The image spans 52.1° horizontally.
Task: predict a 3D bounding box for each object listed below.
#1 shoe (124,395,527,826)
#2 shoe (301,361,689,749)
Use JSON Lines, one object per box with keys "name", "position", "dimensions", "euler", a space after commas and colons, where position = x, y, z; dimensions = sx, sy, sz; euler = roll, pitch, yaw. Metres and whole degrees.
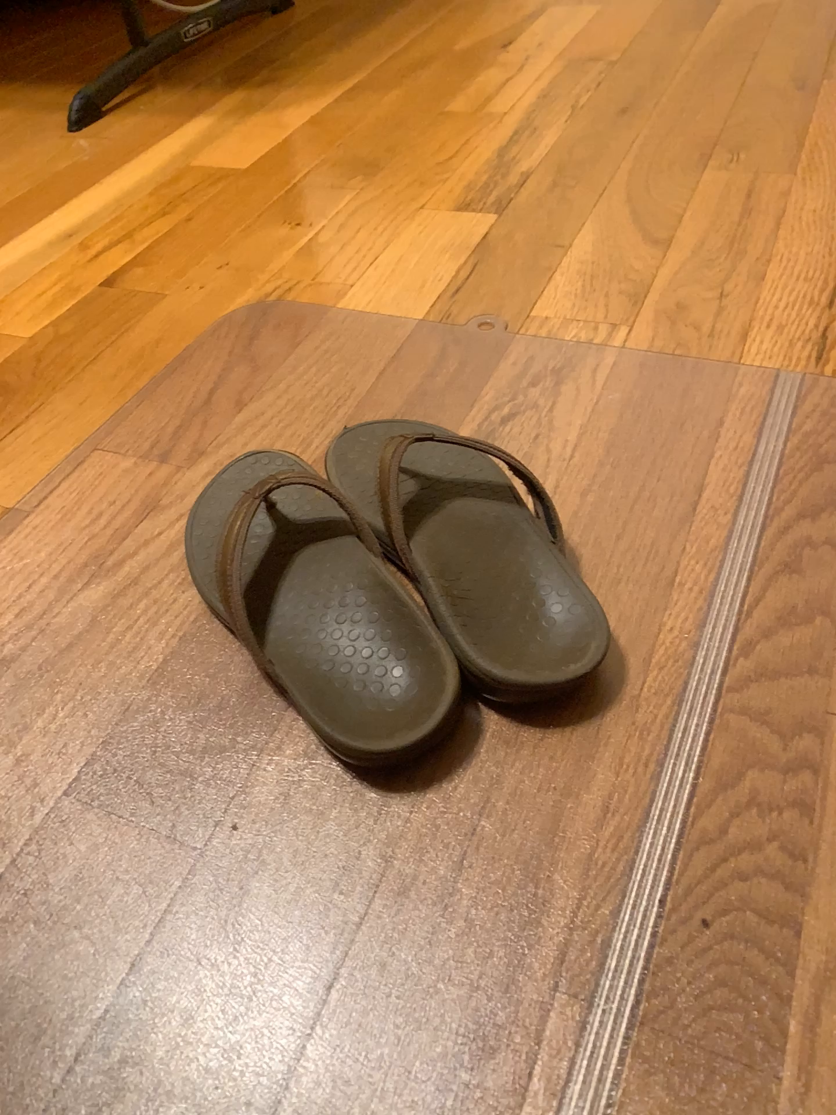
{"name": "shoe", "position": [-0.059, 0.010, 0.461], "dimensions": [0.100, 0.061, 0.248], "euler": [-29, 48, -19]}
{"name": "shoe", "position": [0.029, -0.019, 0.482], "dimensions": [0.091, 0.049, 0.252], "euler": [-25, 47, -15]}
